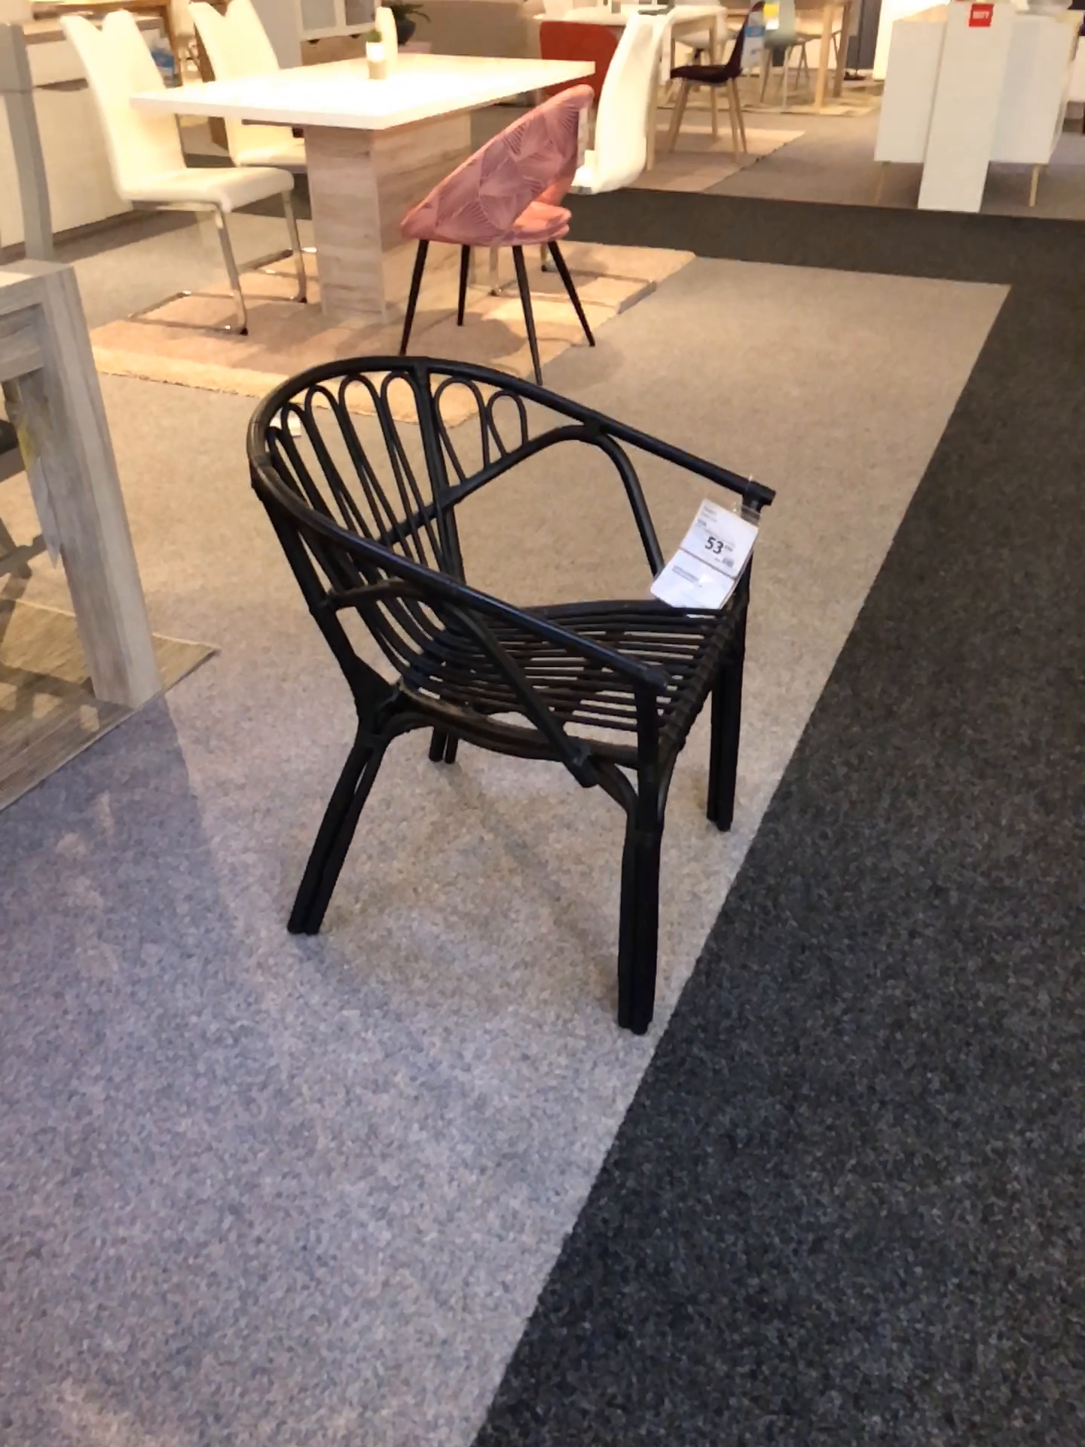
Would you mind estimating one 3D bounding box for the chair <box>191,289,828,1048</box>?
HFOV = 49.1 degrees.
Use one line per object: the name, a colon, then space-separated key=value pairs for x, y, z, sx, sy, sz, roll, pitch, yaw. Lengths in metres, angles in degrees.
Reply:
chair: x=-0.006 y=-0.104 z=1.559 sx=0.559 sy=0.736 sz=0.534 roll=13 pitch=35 yaw=19
